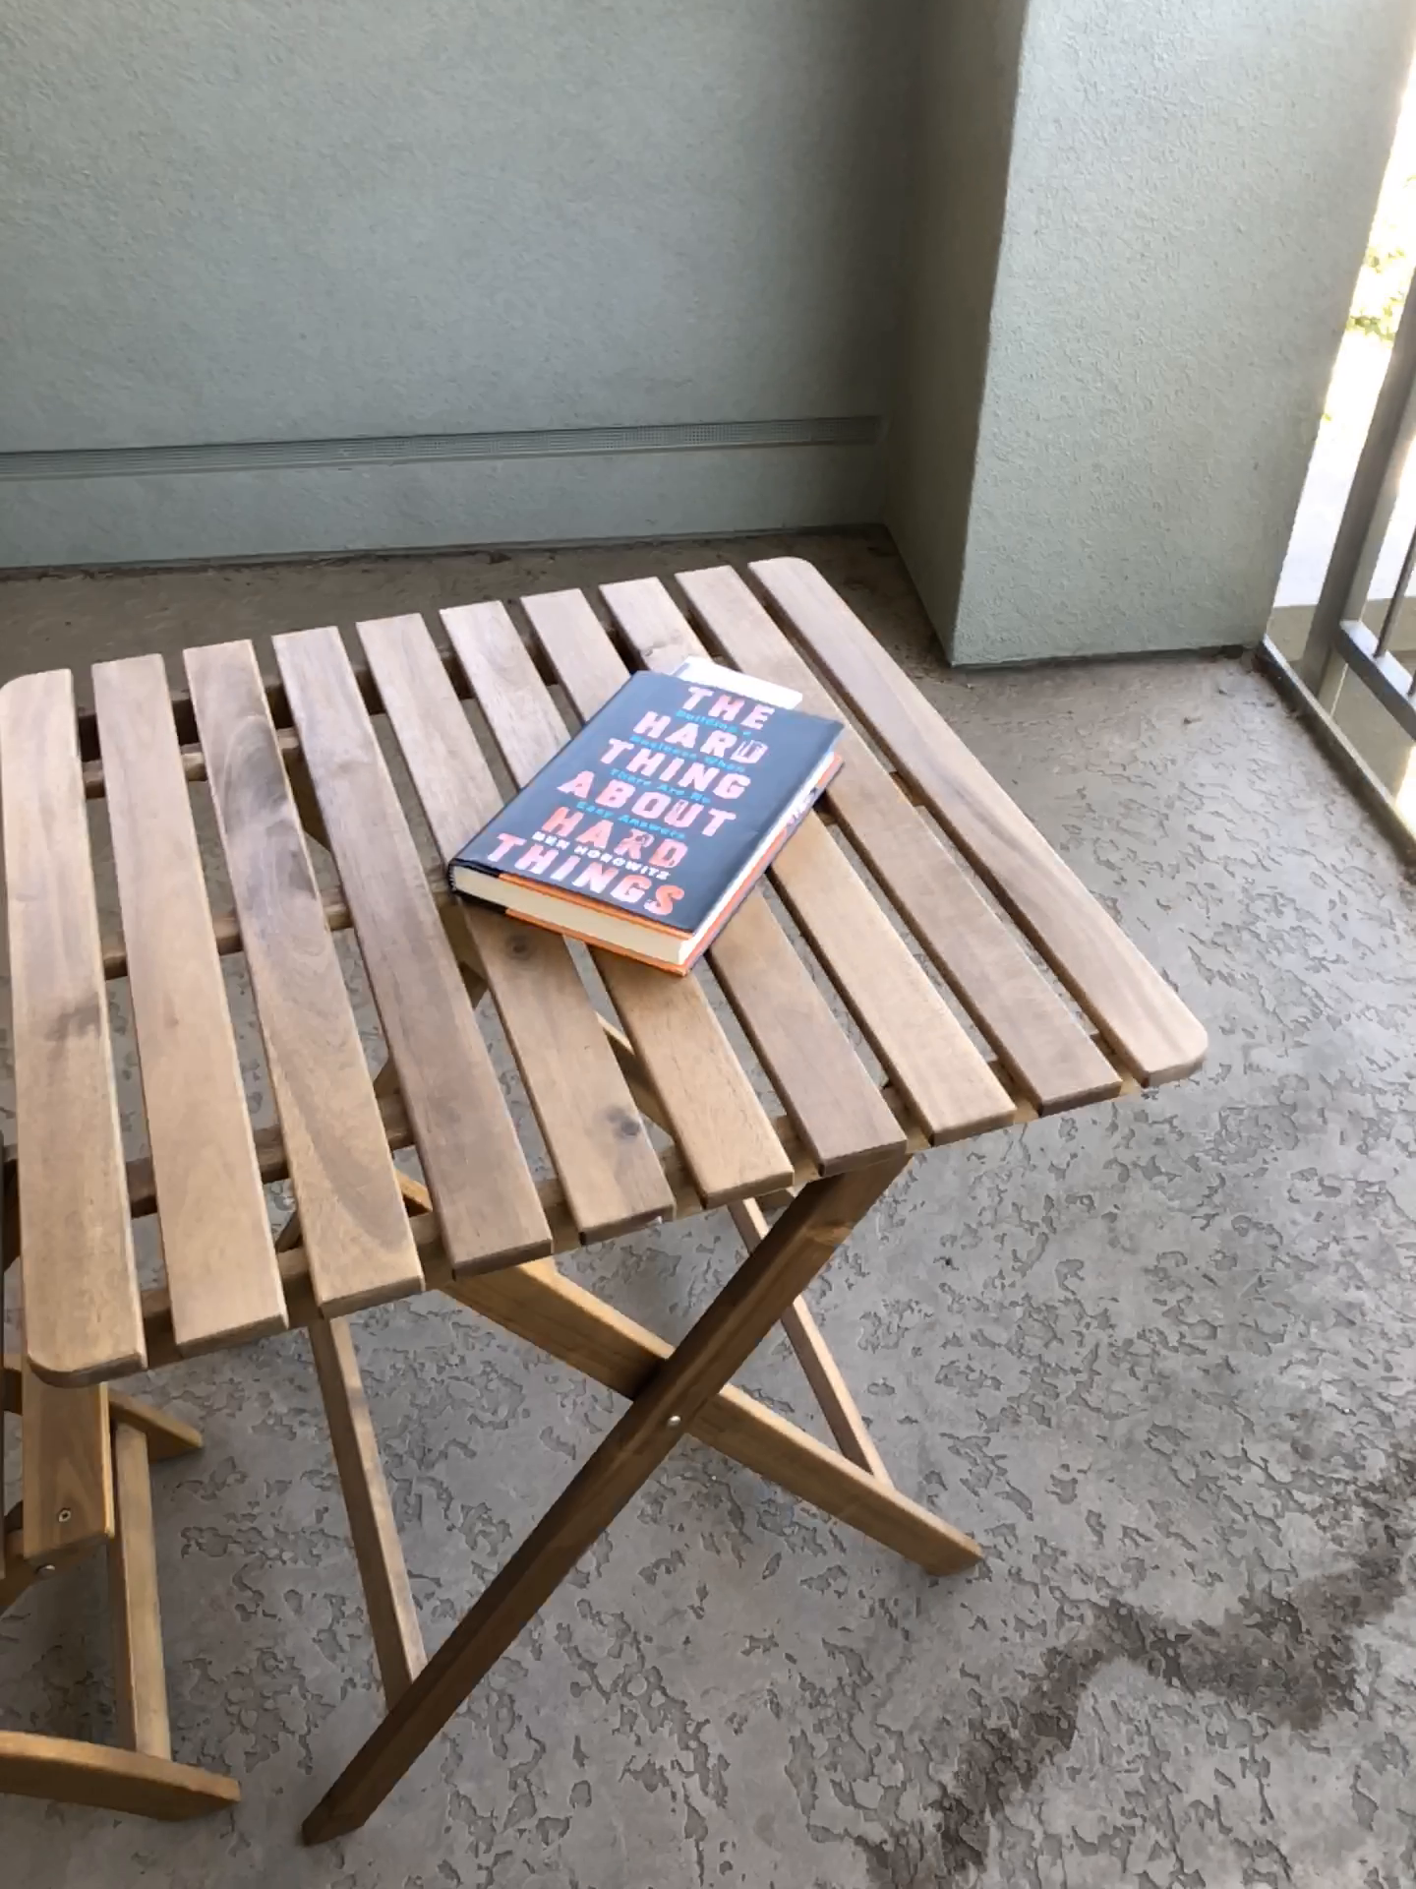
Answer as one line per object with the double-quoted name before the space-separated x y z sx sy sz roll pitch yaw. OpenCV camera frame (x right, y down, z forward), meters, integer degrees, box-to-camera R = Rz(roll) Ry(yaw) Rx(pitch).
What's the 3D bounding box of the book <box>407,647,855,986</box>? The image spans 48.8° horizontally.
"book" -0.040 -0.090 0.965 0.180 0.040 0.241 18 45 20
